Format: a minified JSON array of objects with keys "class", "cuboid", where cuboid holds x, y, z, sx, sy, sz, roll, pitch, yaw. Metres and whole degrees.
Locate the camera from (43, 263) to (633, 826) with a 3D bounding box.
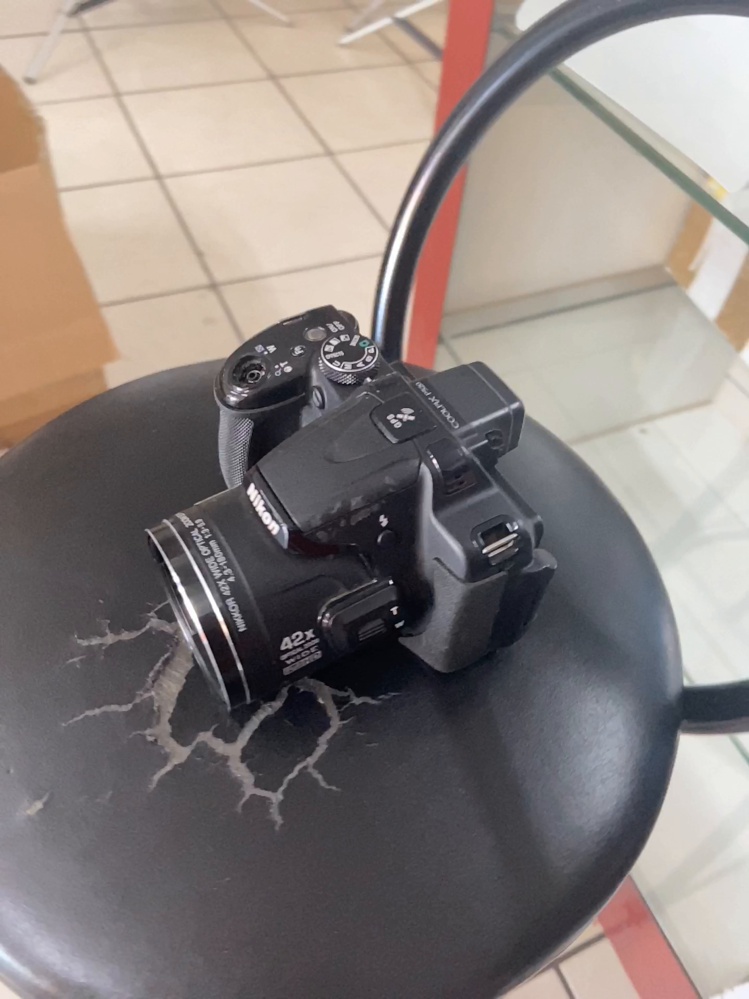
[{"class":"camera","cuboid":[-0.017,0.003,0.250,0.120,0.070,0.130,-24,56,-23]}]
